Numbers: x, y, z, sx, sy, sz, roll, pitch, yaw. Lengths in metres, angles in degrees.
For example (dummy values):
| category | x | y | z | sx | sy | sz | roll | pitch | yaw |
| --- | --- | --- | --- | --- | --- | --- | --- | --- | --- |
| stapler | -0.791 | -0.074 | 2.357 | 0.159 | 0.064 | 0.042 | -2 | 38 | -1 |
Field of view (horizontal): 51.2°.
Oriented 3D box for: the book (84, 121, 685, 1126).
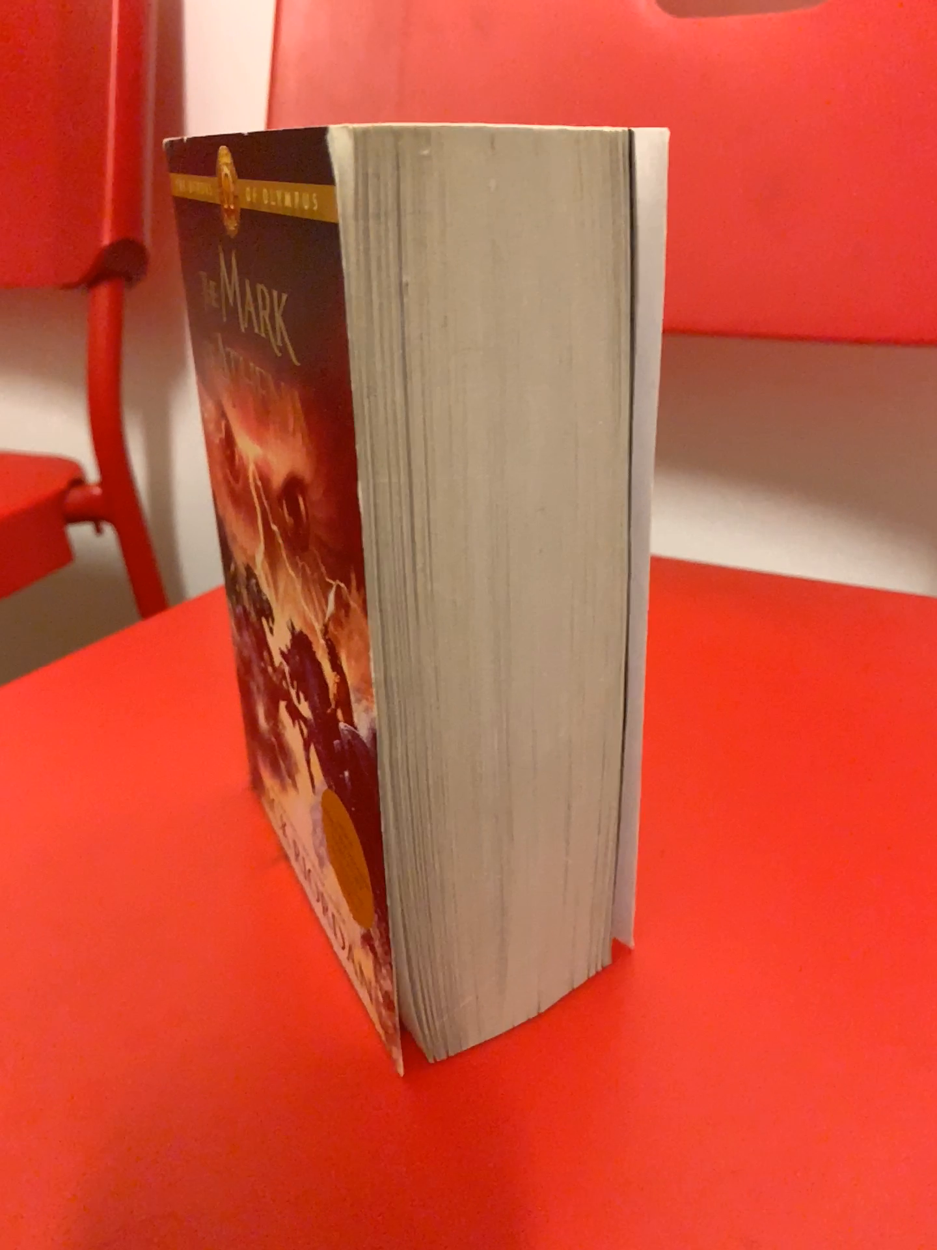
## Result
| category | x | y | z | sx | sy | sz | roll | pitch | yaw |
| --- | --- | --- | --- | --- | --- | --- | --- | --- | --- |
| book | -0.026 | -0.011 | 0.238 | 0.061 | 0.194 | 0.140 | -17 | 30 | -28 |
